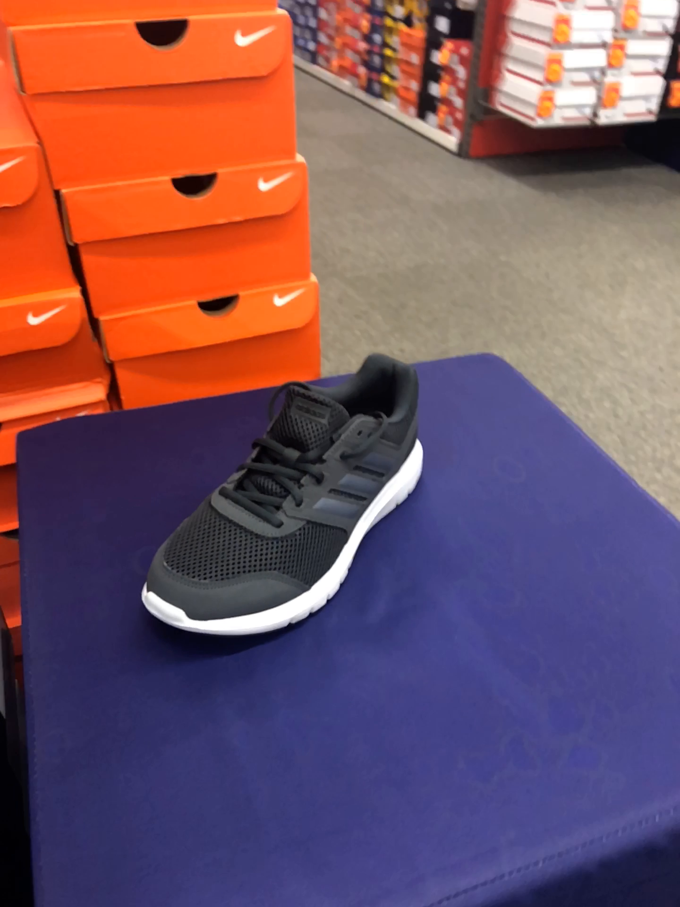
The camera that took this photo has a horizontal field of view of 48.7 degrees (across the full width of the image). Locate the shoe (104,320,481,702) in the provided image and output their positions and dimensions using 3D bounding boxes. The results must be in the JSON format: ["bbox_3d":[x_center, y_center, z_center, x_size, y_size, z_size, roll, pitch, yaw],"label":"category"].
[{"bbox_3d":[-0.014,0.018,0.527,0.101,0.106,0.282,22,40,26],"label":"shoe"}]
